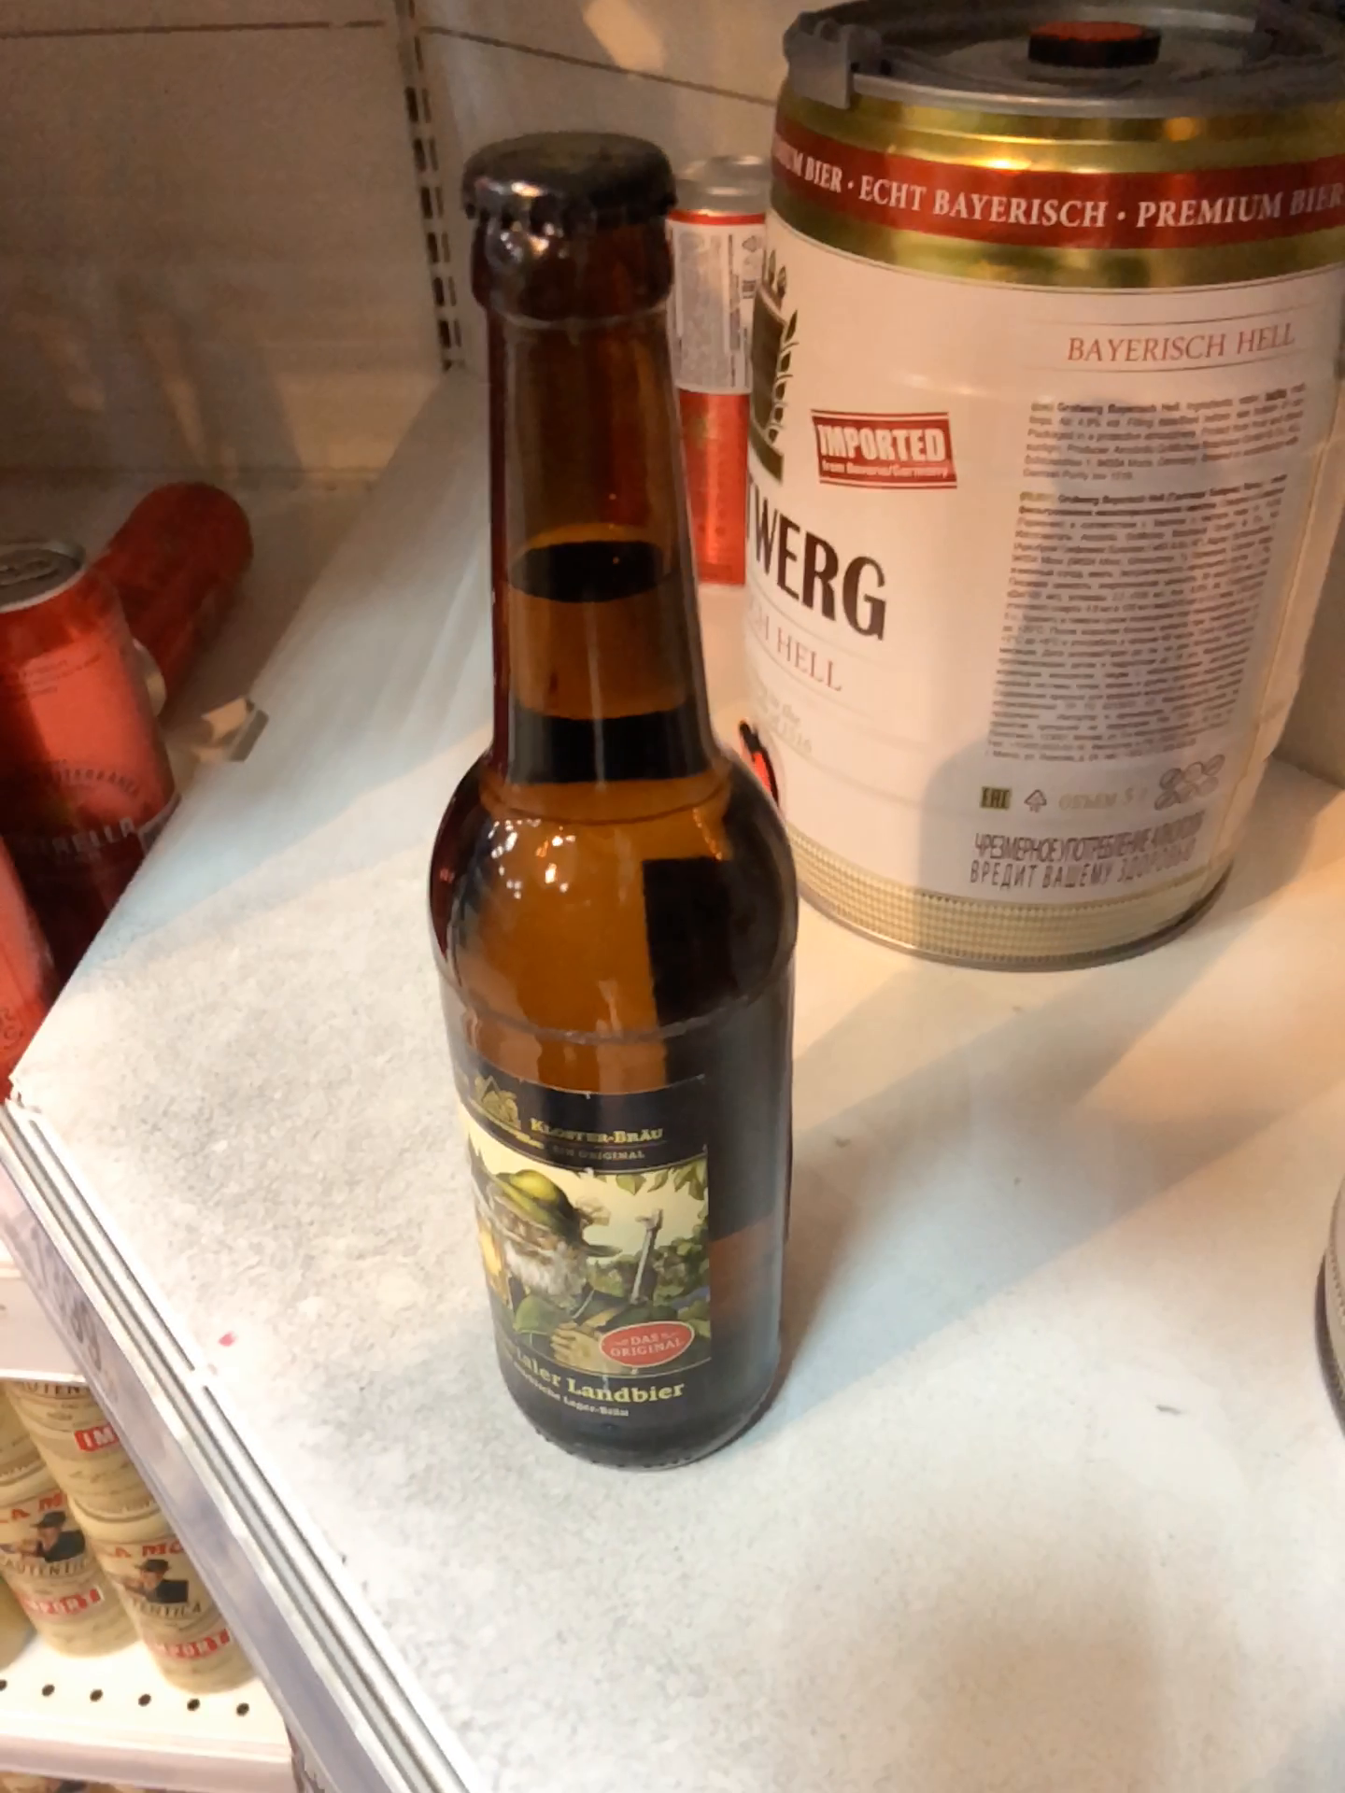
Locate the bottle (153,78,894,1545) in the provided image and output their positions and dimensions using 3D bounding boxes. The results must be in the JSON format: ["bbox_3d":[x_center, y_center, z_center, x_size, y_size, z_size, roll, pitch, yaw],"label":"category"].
[{"bbox_3d":[-0.015,0.006,0.269,0.064,0.257,0.071,-30,46,-29],"label":"bottle"}]
